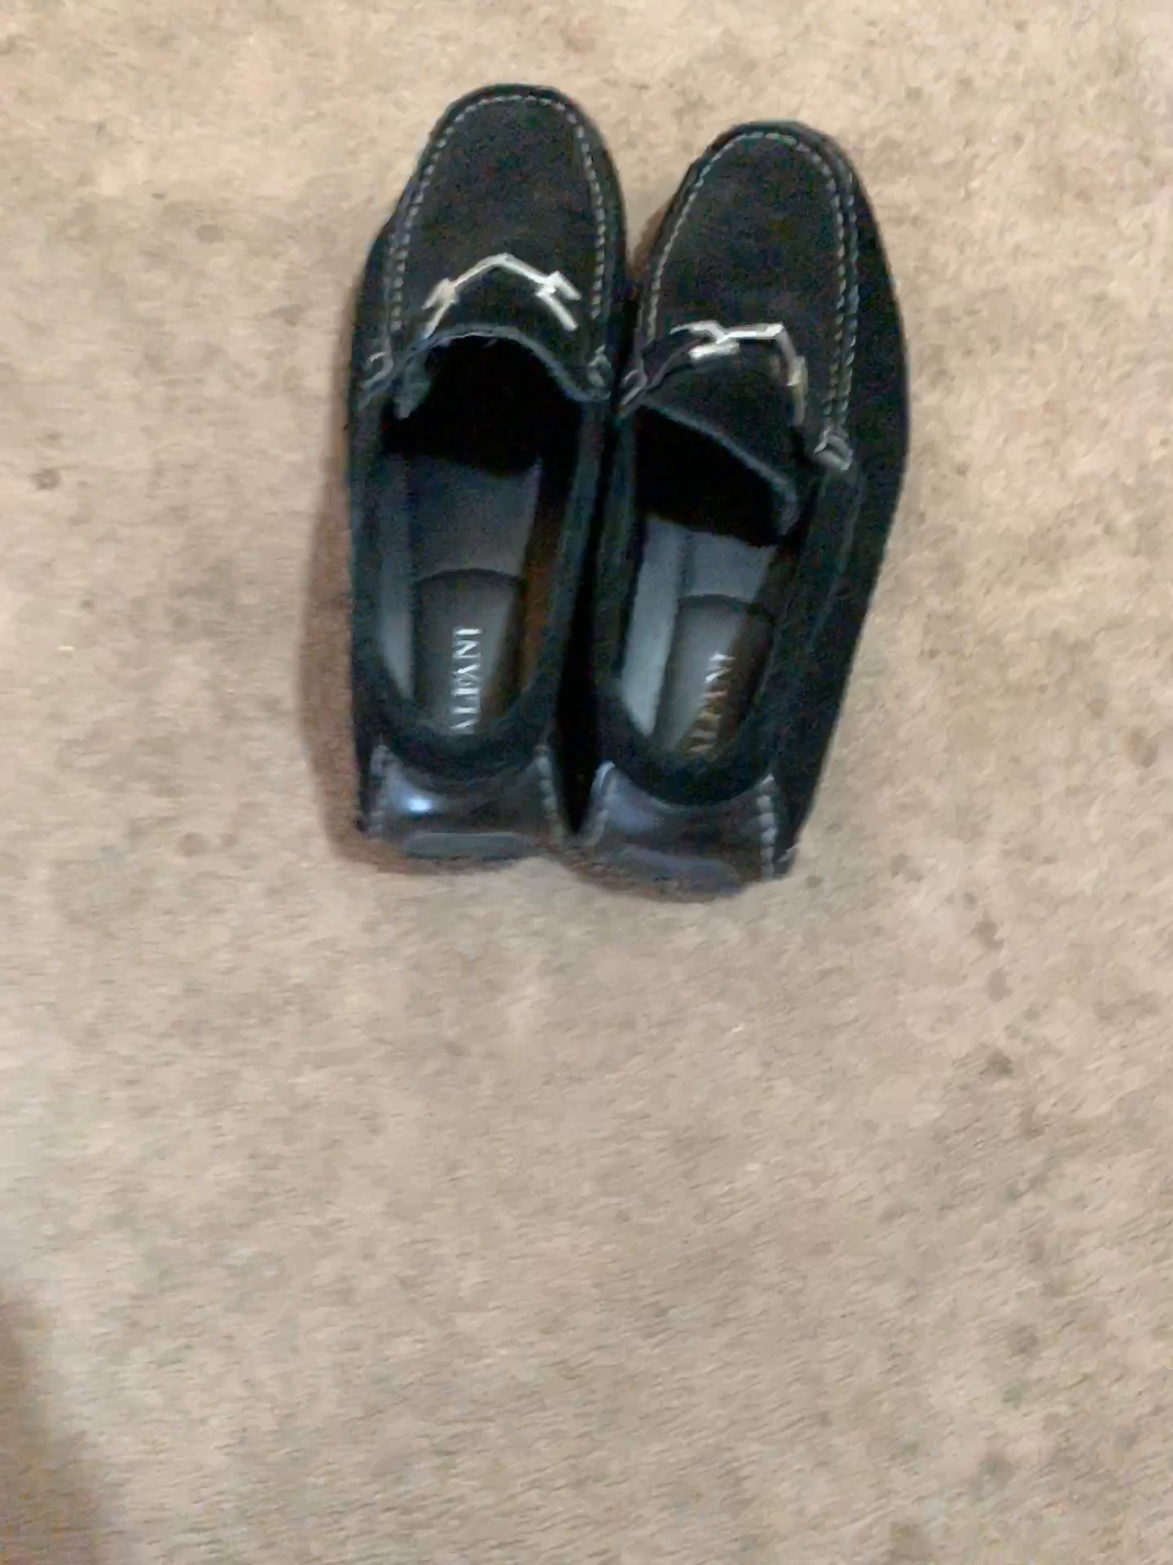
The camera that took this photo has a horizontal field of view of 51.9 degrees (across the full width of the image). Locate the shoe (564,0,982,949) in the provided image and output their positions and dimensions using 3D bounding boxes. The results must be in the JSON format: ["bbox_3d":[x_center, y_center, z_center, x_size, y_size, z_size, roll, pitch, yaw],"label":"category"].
[{"bbox_3d":[0.061,-0.112,0.399,0.100,0.100,0.311,7,74,-1],"label":"shoe"}]

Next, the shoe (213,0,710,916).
[{"bbox_3d":[-0.029,-0.124,0.391,0.100,0.100,0.311,7,74,-1],"label":"shoe"}]
